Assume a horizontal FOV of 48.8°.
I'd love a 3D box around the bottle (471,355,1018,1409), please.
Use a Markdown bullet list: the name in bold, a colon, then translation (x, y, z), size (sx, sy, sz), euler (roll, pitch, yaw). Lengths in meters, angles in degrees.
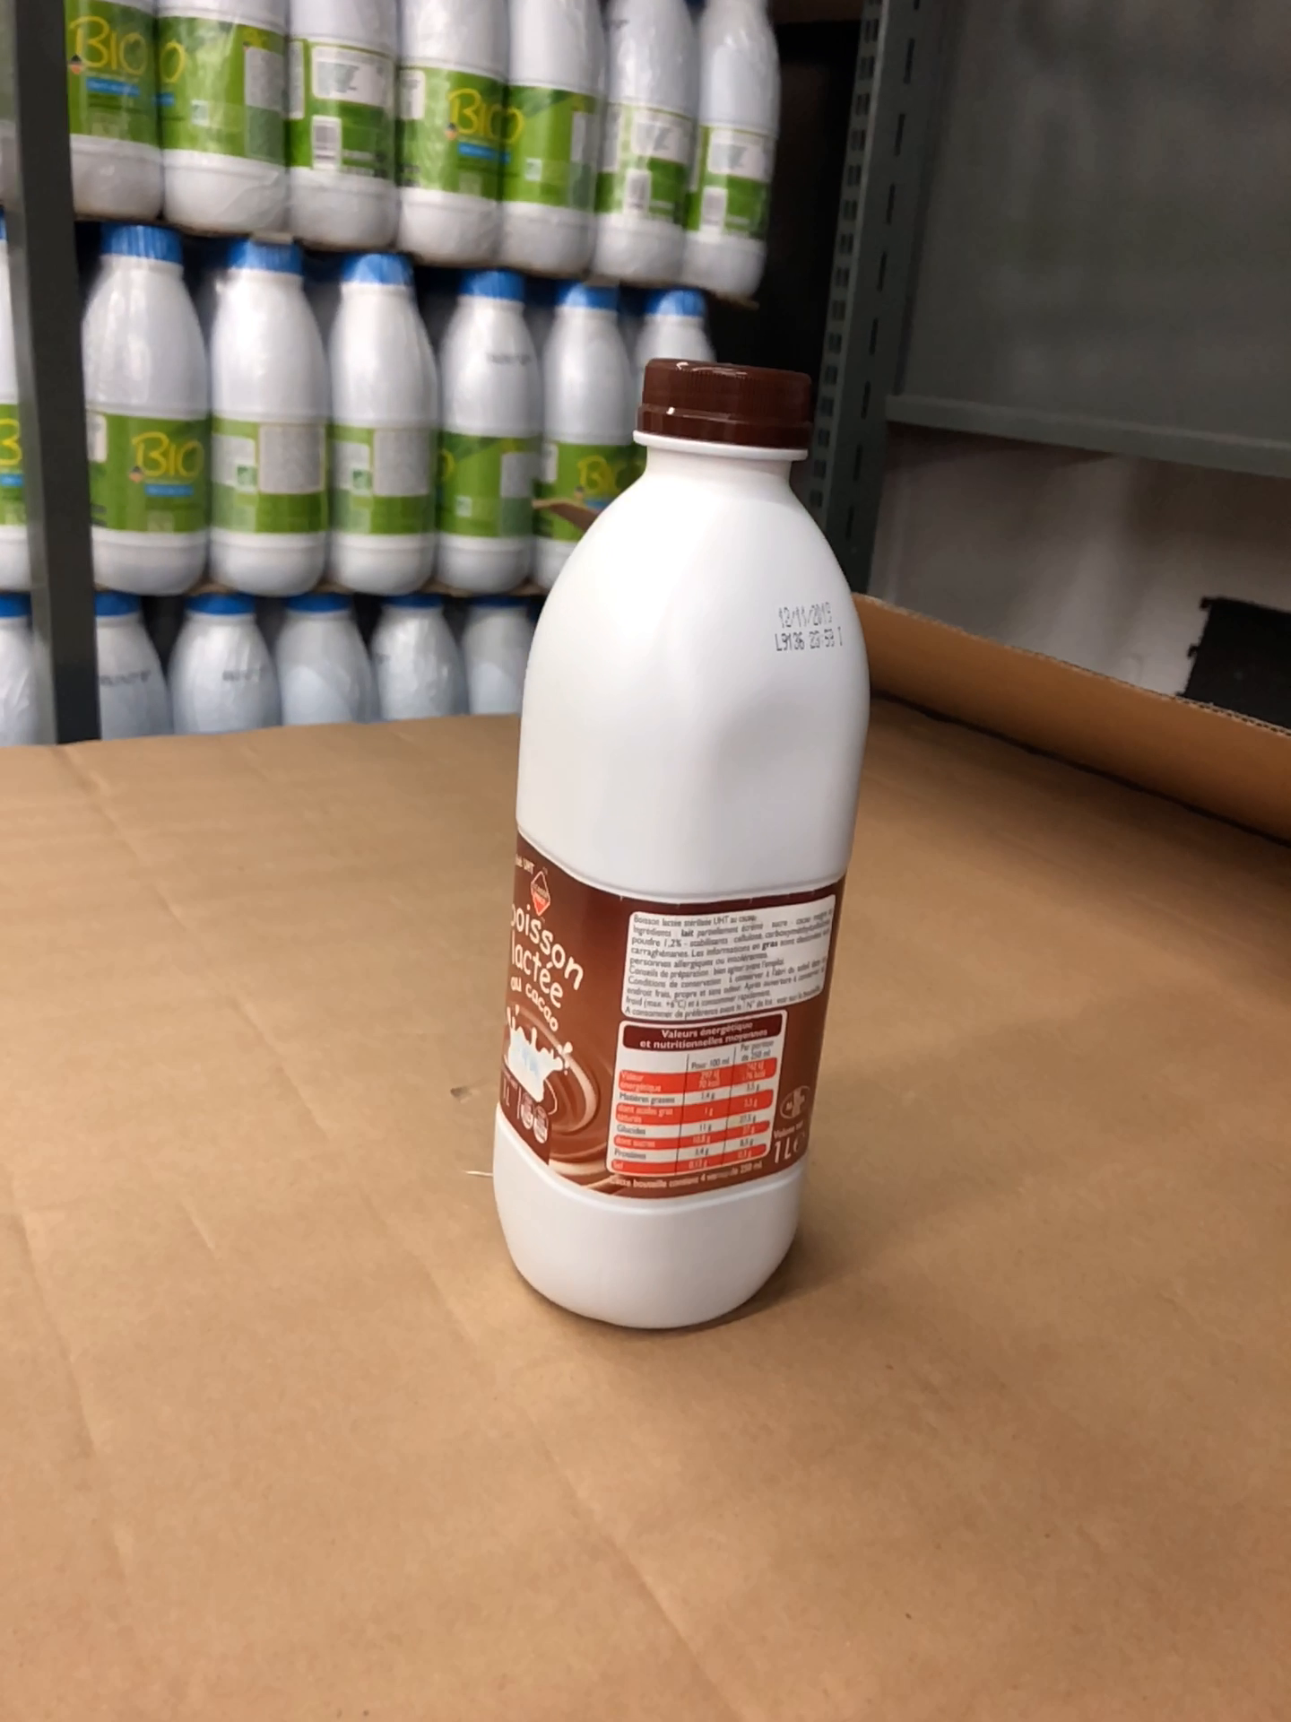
- **bottle**: translation (0.015, 0.002, 0.365), size (0.080, 0.239, 0.090), euler (-8, 23, -31)
